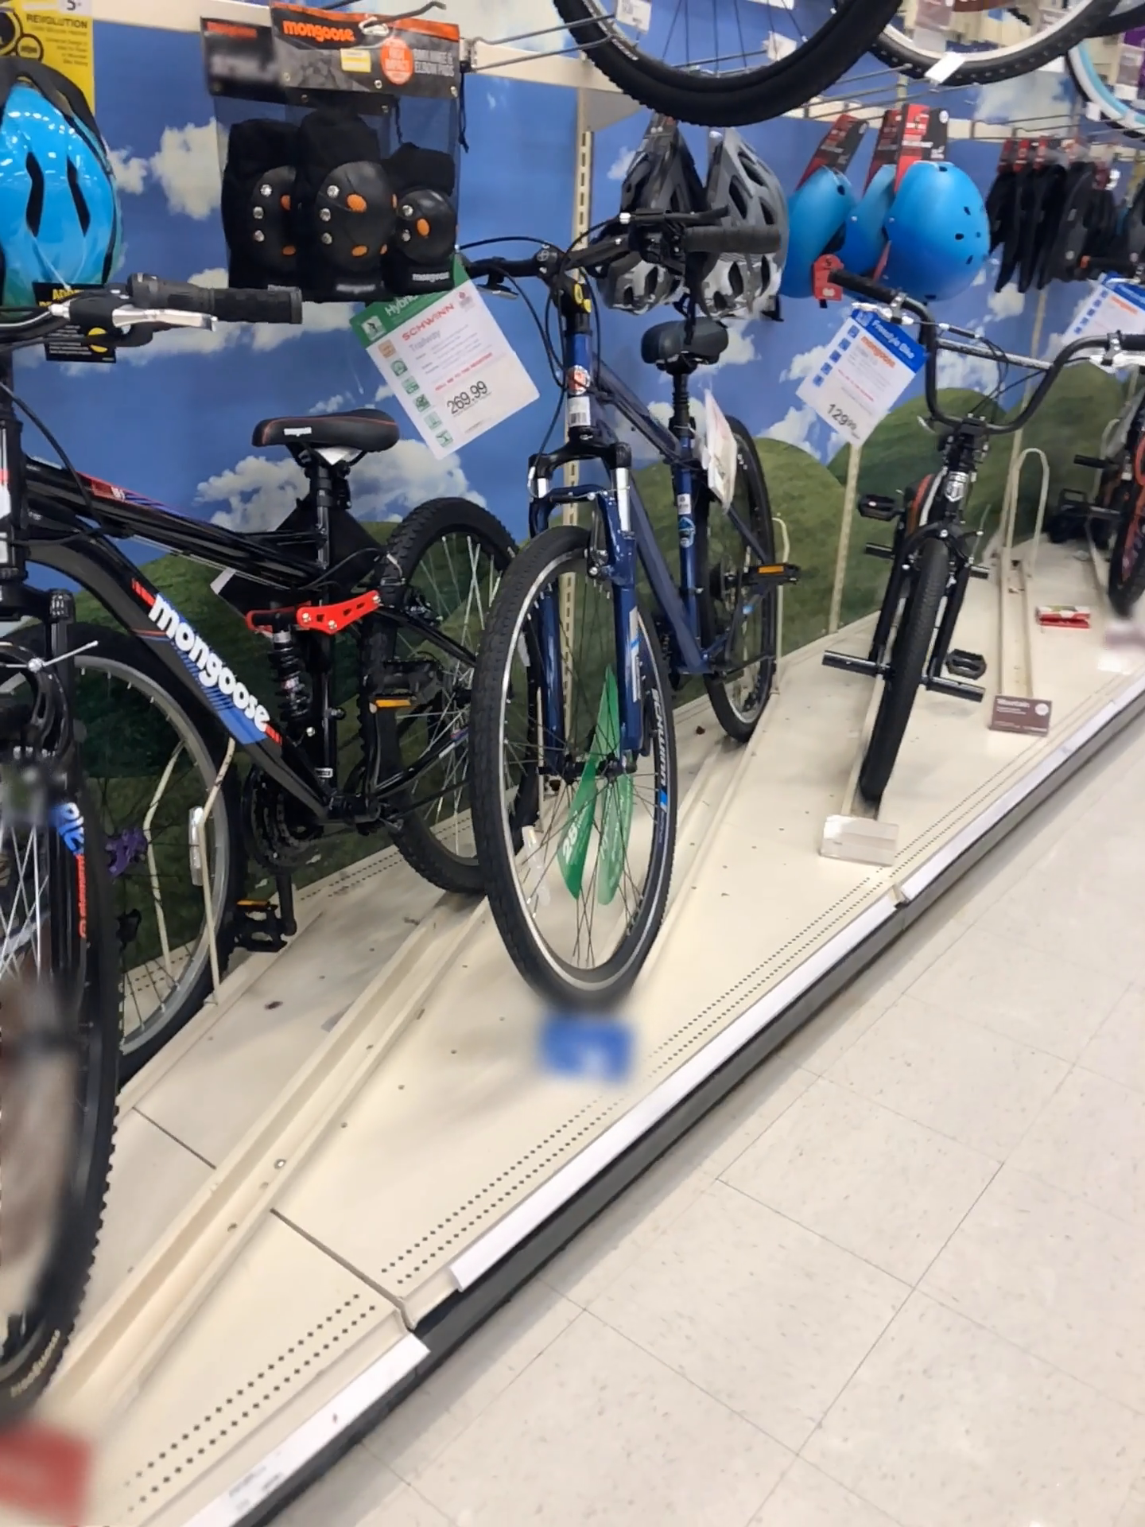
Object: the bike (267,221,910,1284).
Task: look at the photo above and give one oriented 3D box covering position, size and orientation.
[{"bbox_3d":[0.182,-0.279,2.149,0.529,1.098,1.746,8,27,15],"label":"bike"}]
